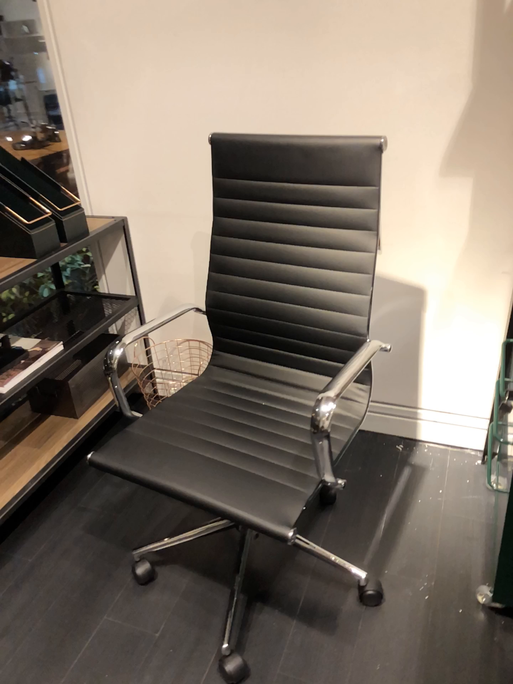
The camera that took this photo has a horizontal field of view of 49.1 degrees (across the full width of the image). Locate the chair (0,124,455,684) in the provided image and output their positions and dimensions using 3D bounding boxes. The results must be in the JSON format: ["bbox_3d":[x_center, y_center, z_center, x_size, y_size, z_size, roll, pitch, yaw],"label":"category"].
[{"bbox_3d":[-0.026,0.117,1.274,0.681,1.052,0.664,12,32,28],"label":"chair"}]
